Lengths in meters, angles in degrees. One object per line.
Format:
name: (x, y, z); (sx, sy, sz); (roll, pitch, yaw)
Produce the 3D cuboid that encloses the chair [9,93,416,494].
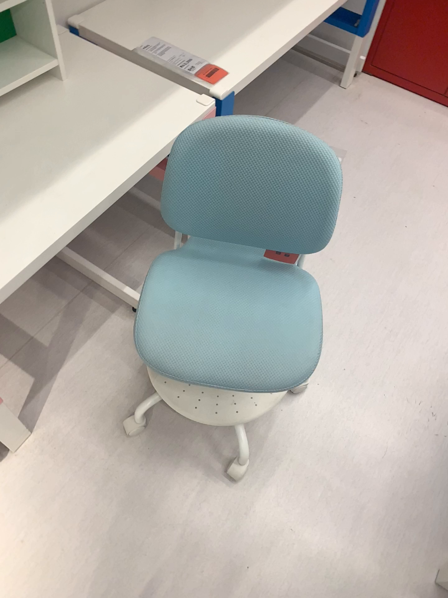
chair: (-0.003, 0.038, 1.091); (0.580, 0.678, 0.611); (9, 57, 1)
